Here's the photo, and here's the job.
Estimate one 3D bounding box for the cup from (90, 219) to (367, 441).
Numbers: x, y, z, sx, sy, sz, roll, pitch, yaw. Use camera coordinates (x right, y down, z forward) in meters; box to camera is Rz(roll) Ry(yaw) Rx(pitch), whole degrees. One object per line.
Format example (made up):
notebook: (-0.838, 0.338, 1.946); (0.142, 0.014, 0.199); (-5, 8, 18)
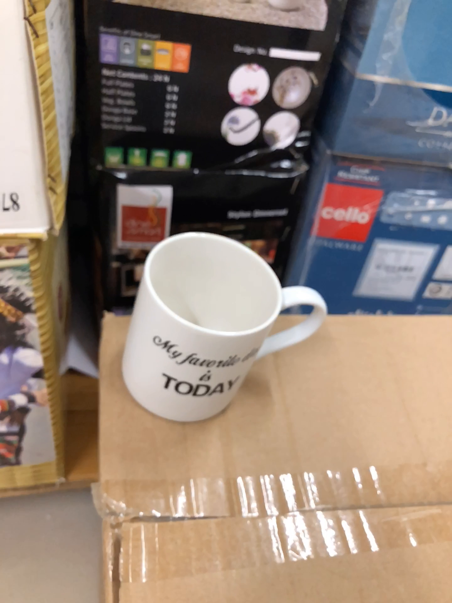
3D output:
cup: (-0.007, 0.016, 0.316); (0.130, 0.099, 0.080); (-2, 49, -25)
